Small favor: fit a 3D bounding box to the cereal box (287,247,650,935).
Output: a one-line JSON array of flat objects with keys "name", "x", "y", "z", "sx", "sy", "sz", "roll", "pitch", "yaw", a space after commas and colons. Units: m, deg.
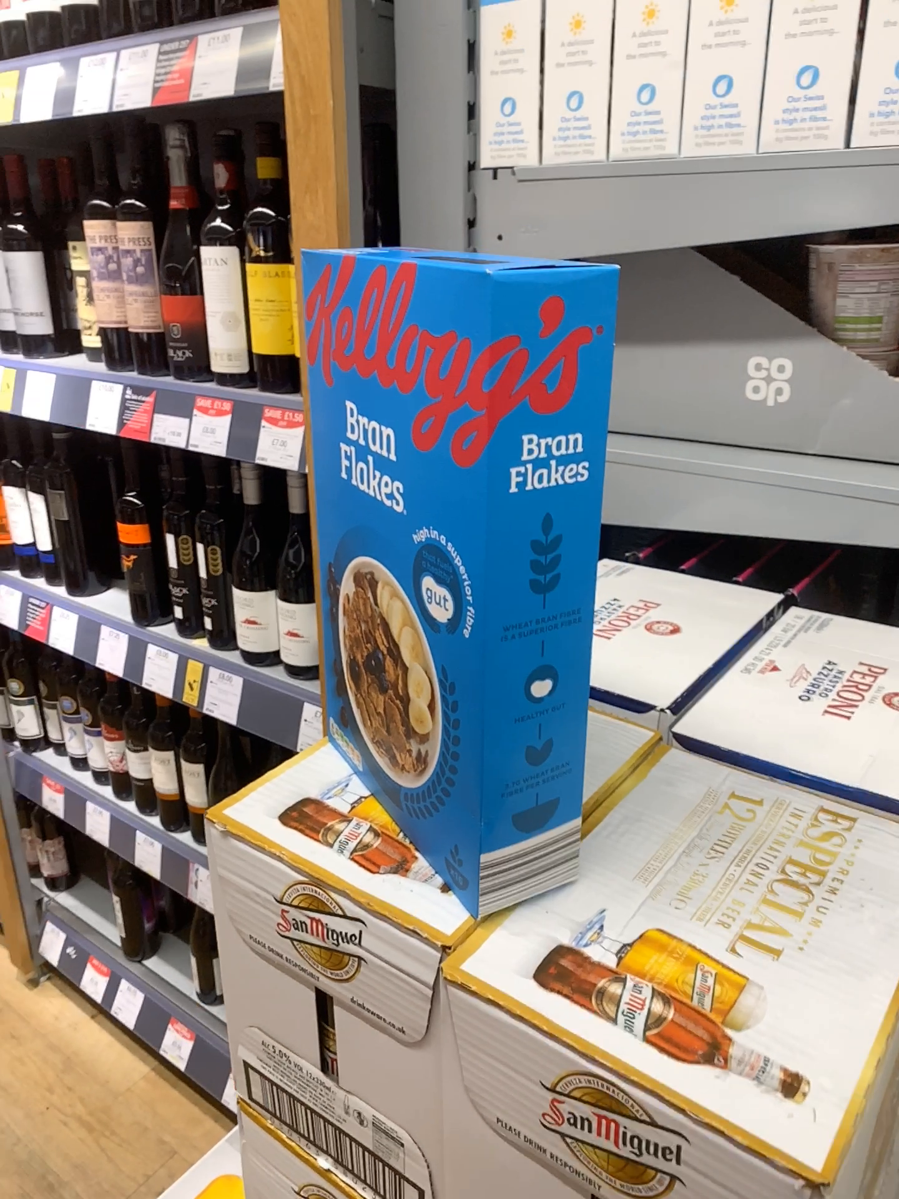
[{"name": "cereal box", "x": -0.006, "y": -0.020, "z": 0.468, "sx": 0.070, "sy": 0.288, "sz": 0.201, "roll": -12, "pitch": 25, "yaw": -27}]
